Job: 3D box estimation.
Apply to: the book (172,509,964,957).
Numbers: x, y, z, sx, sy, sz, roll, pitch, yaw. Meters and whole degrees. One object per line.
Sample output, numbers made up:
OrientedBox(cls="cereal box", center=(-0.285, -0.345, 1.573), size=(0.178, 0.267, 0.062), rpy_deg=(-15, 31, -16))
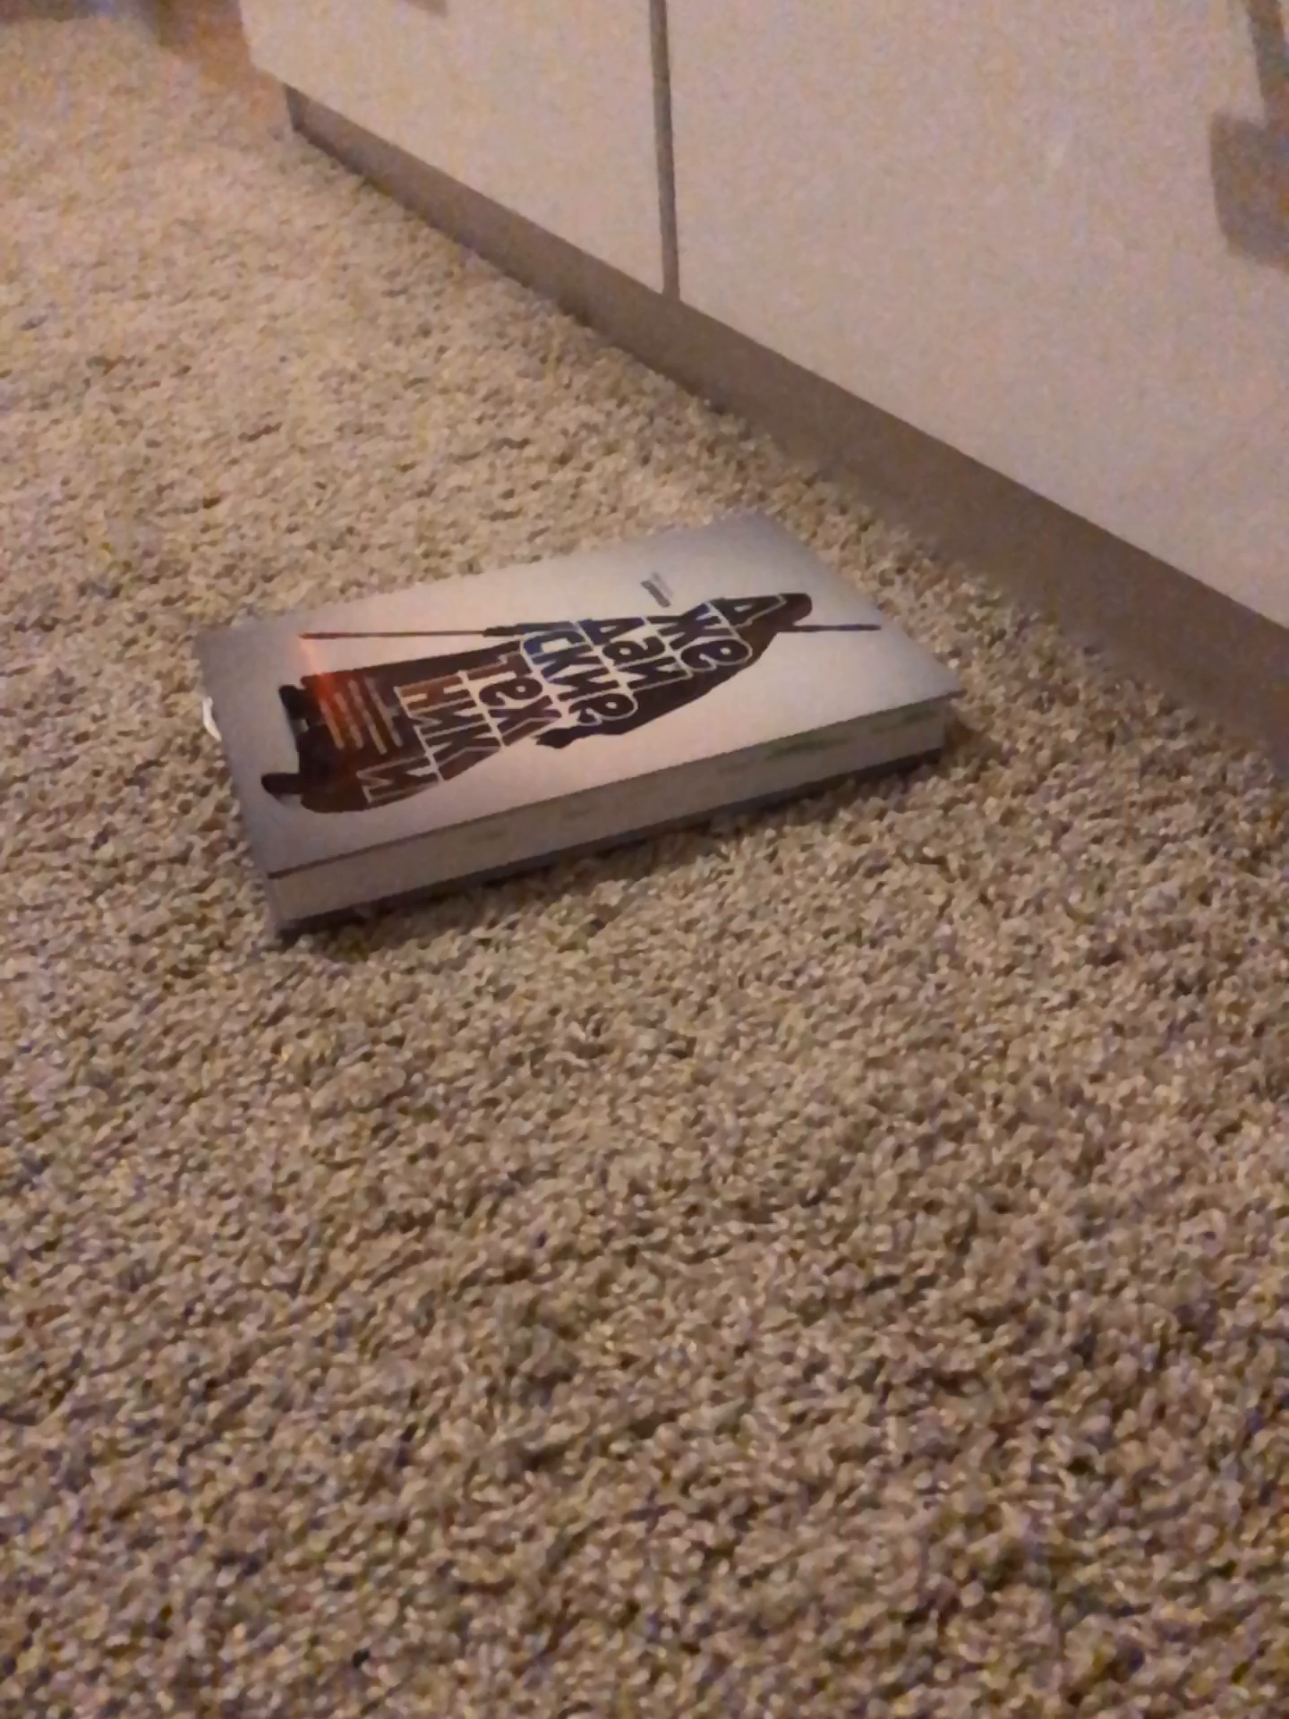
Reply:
OrientedBox(cls="book", center=(-0.032, -0.054, 0.467), size=(0.221, 0.026, 0.151), rpy_deg=(-16, 39, -15))
